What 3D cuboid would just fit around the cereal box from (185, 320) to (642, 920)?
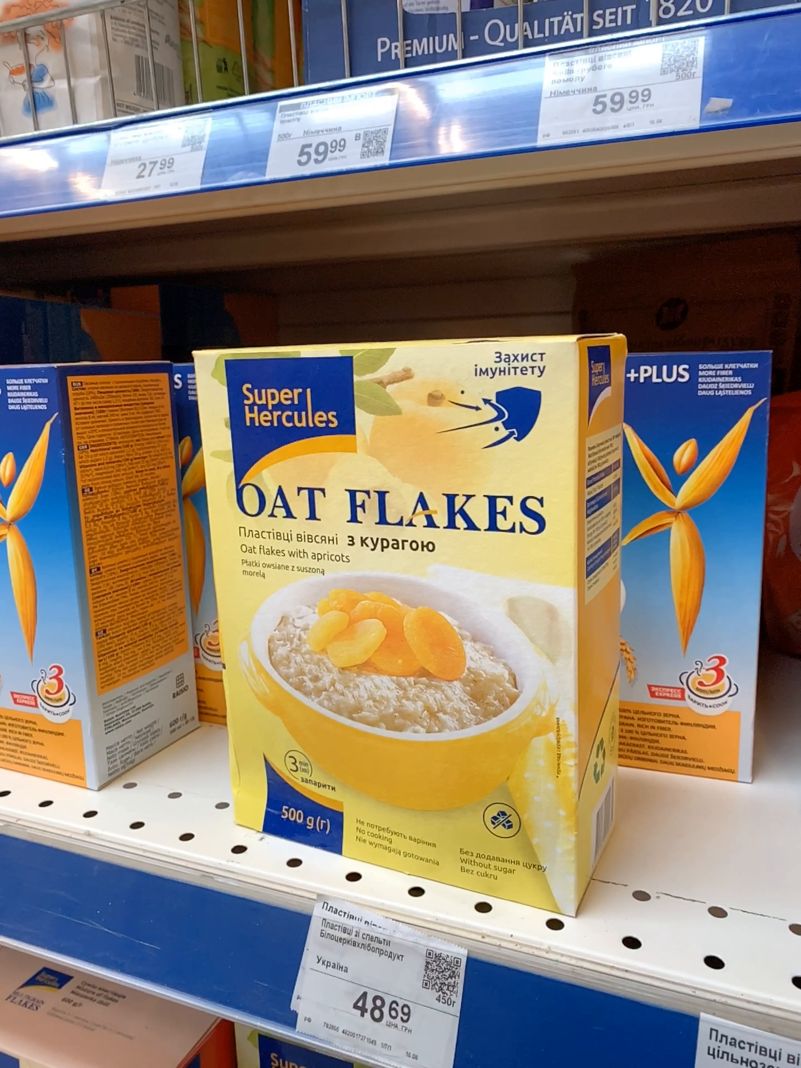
[{"bbox_3d":[0.005,0.021,0.311,0.150,0.189,0.060,4,12,26],"label":"cereal box"}]
